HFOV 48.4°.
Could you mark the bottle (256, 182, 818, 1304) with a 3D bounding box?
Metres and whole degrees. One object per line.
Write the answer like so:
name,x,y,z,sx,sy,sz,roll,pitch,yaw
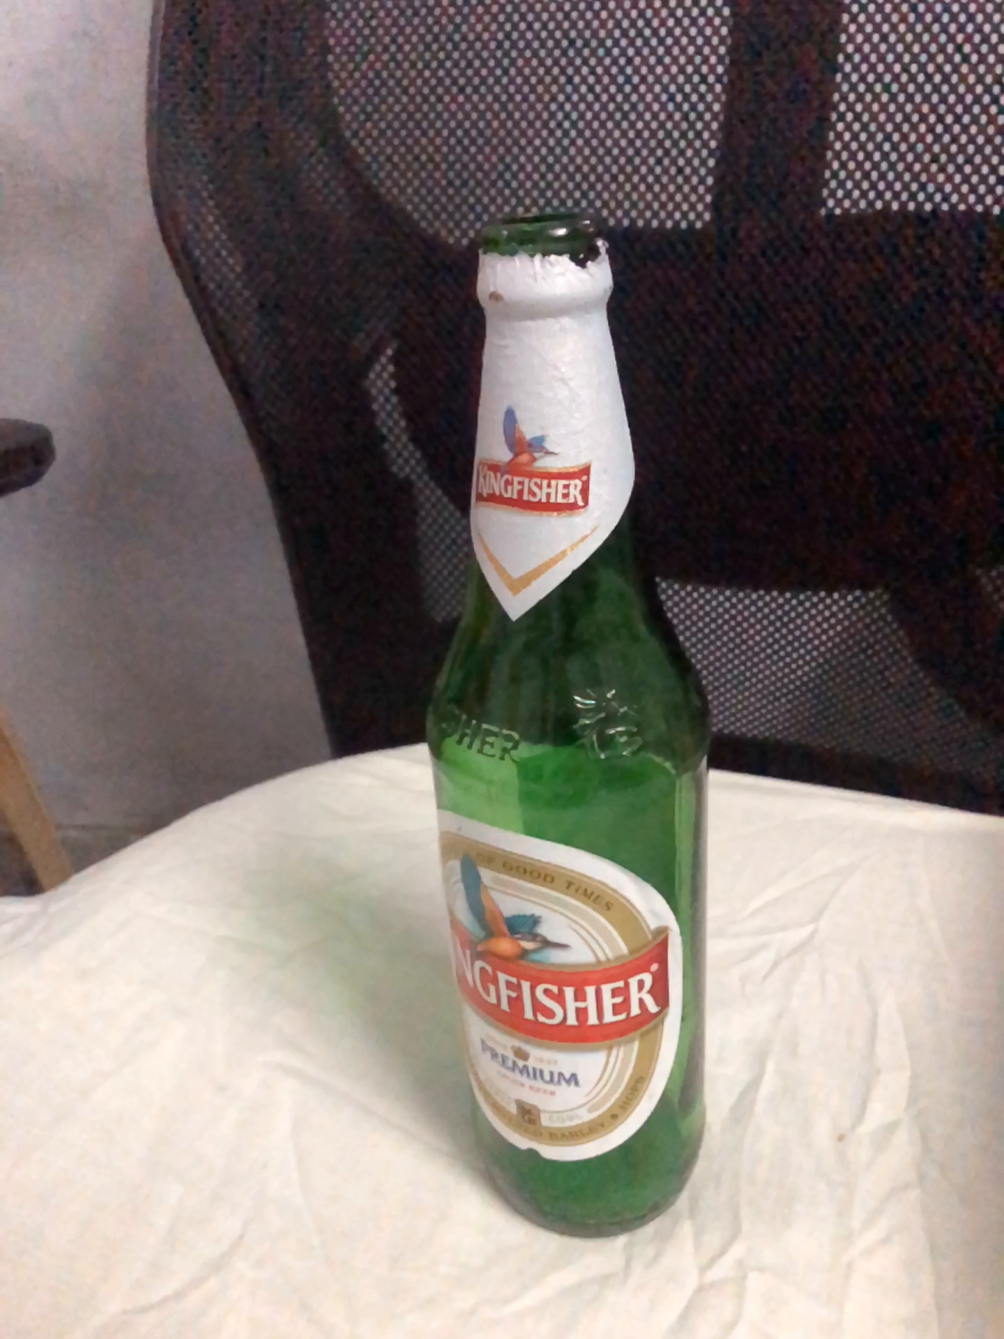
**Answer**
bottle,0.017,0.027,0.271,0.080,0.259,0.070,14,34,30
